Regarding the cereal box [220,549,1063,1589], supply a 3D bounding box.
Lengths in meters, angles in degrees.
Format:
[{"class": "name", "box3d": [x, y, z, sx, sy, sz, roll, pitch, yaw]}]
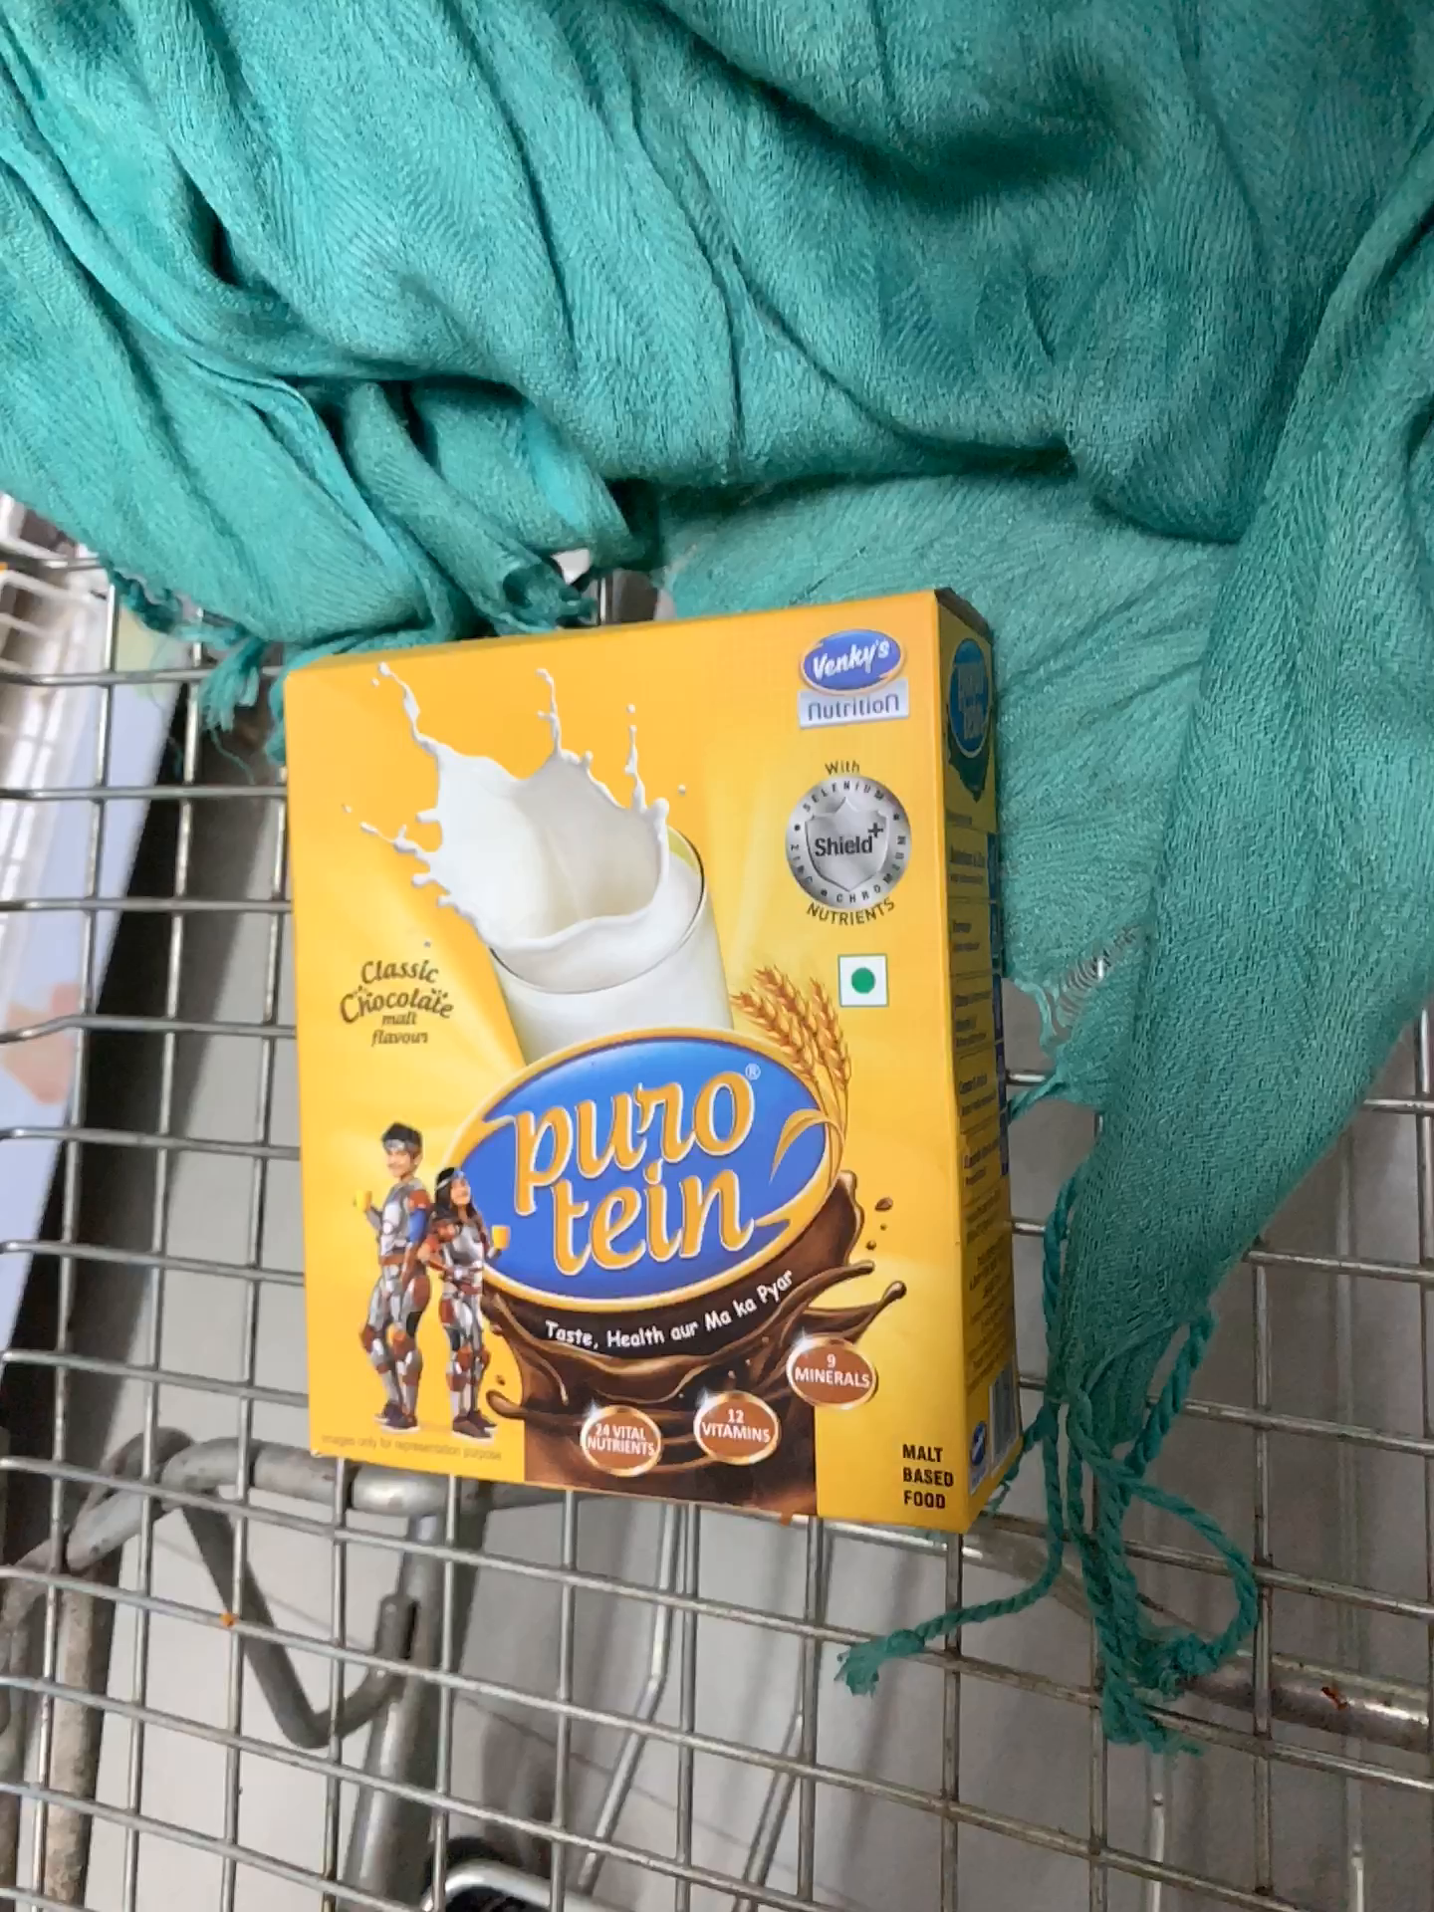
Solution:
[{"class": "cereal box", "box3d": [-0.013, 0.019, 0.275, 0.140, 0.050, 0.160, -2, 93, 21]}]
